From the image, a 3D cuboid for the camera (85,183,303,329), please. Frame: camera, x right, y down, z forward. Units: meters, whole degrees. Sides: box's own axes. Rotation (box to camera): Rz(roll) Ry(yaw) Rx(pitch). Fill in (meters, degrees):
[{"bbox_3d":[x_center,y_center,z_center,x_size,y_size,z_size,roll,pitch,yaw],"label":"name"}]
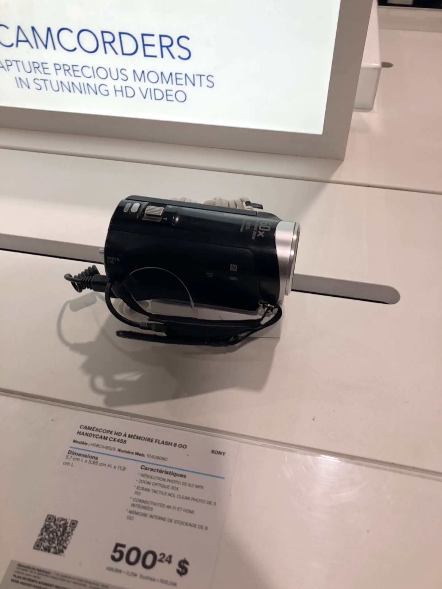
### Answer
[{"bbox_3d":[-0.013,-0.026,0.315,0.121,0.058,0.057,7,47,9],"label":"camera"}]
